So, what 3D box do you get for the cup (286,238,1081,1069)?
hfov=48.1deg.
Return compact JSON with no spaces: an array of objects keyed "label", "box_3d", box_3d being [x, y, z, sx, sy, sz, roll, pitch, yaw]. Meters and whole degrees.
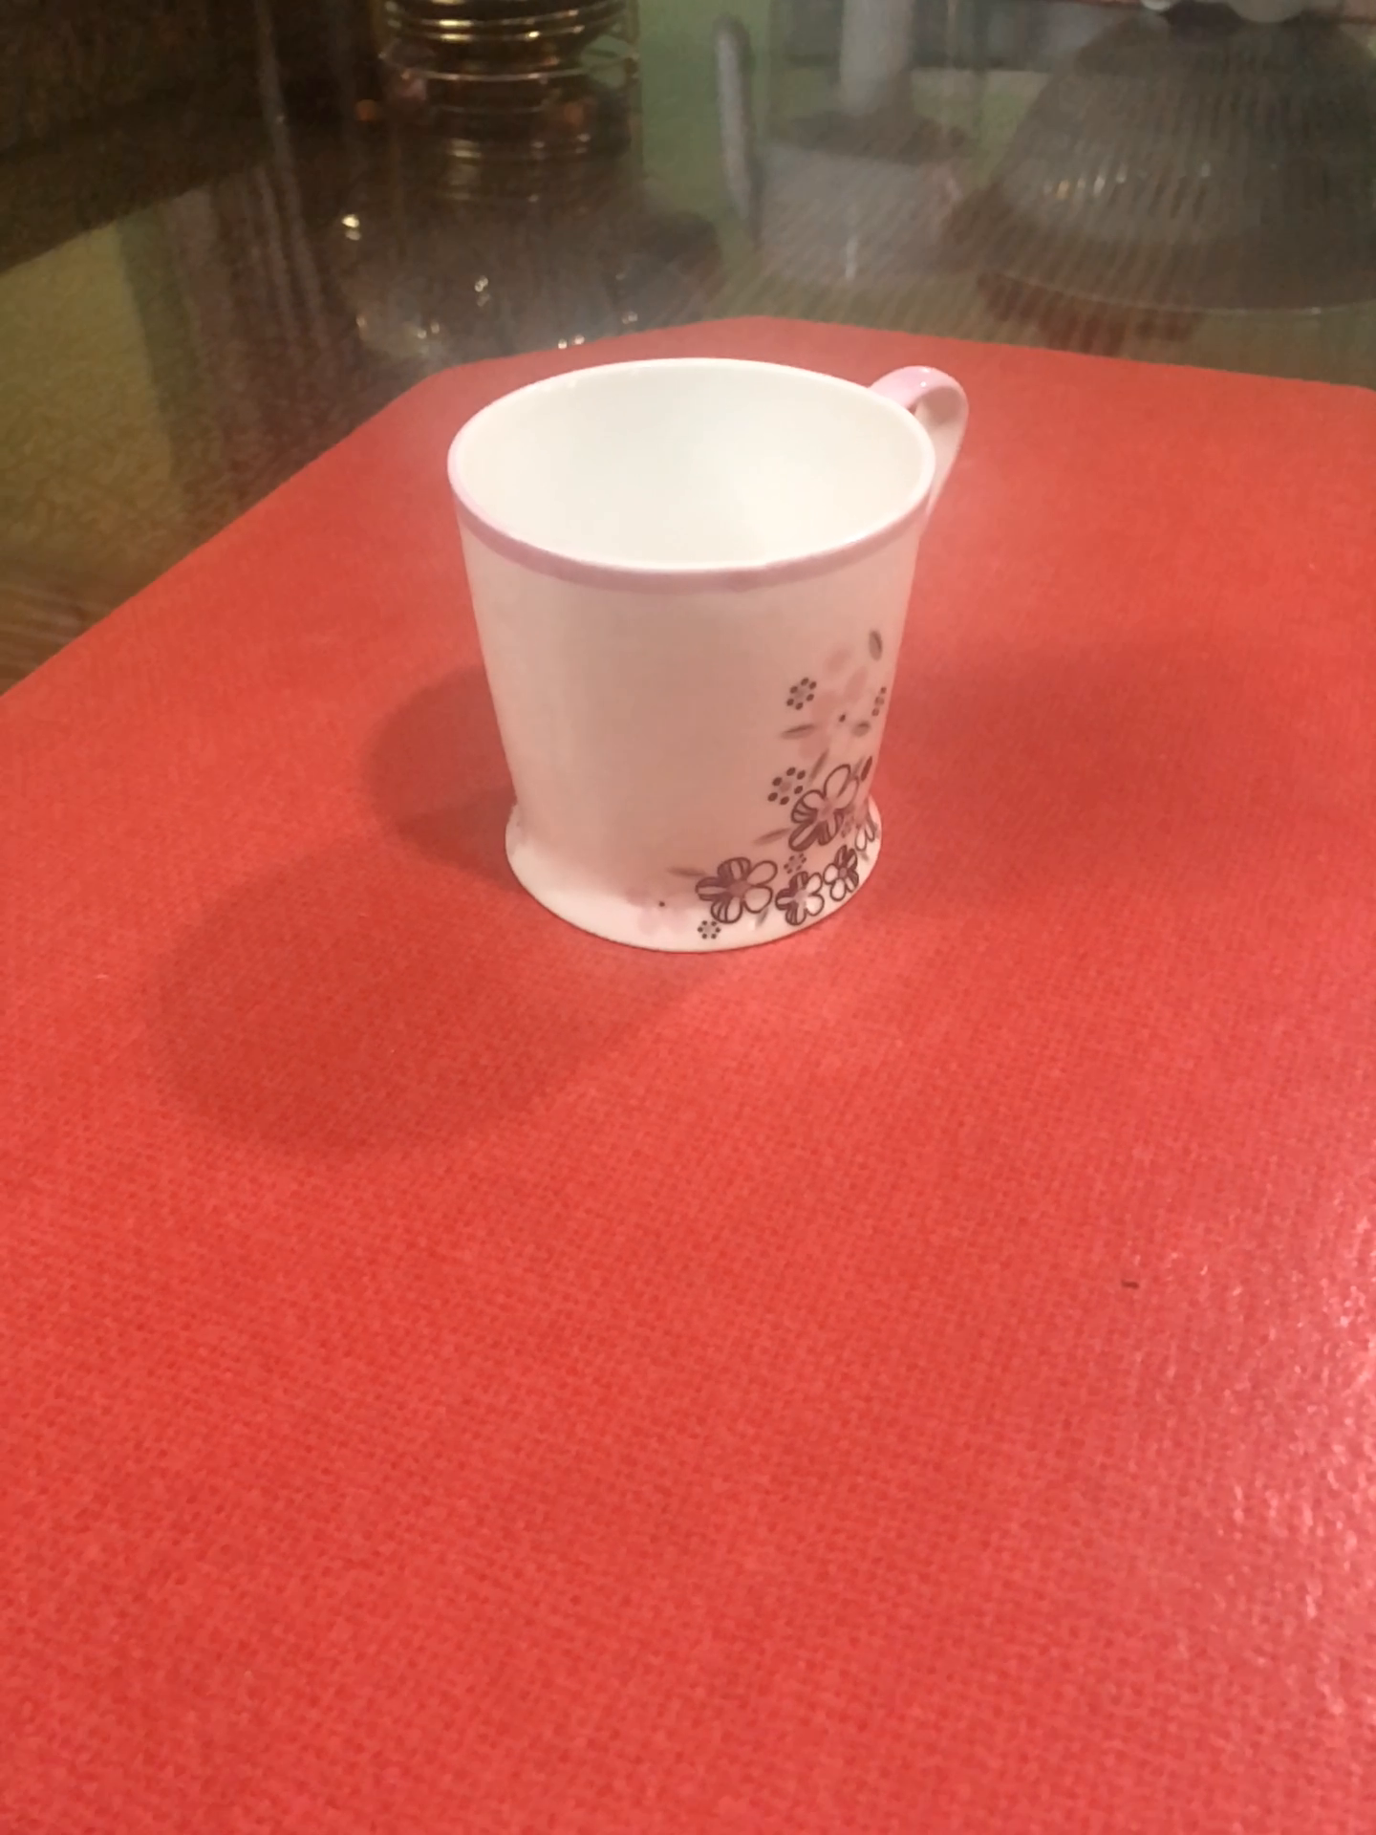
[{"label":"cup","box_3d":[0.004,-0.048,0.247,0.070,0.080,0.100,23,46,26]}]
